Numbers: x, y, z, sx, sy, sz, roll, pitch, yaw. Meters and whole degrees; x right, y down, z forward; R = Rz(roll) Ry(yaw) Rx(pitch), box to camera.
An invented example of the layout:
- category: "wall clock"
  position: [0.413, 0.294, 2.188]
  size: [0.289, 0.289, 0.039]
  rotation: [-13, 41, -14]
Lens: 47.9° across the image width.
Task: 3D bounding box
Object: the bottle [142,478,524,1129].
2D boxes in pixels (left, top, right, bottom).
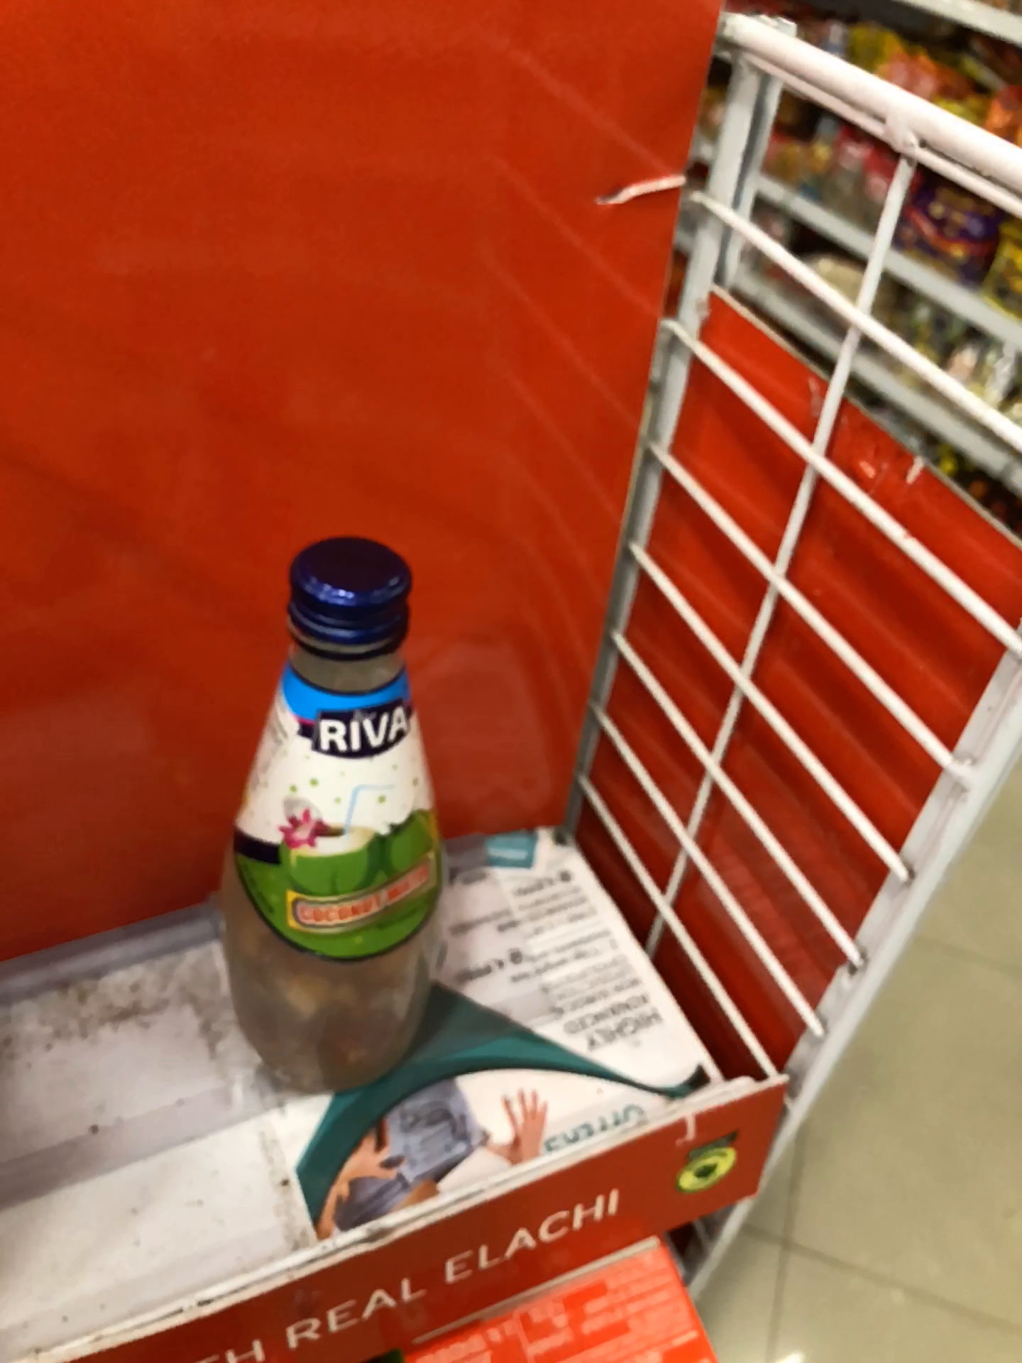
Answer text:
- category: "bottle"
  position: [-0.052, 0.041, 0.321]
  size: [0.070, 0.179, 0.060]
  rotation: [-13, 45, -24]
